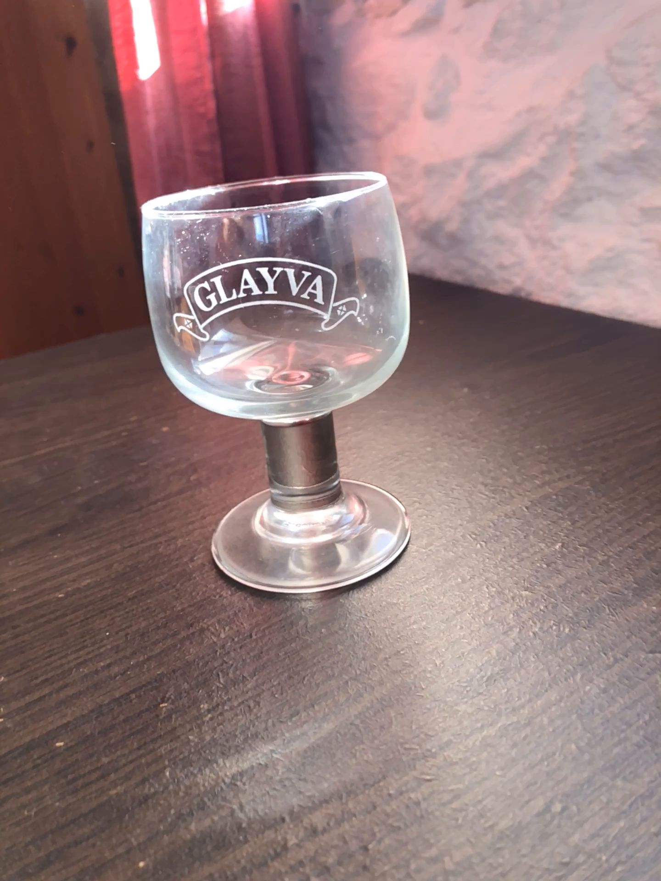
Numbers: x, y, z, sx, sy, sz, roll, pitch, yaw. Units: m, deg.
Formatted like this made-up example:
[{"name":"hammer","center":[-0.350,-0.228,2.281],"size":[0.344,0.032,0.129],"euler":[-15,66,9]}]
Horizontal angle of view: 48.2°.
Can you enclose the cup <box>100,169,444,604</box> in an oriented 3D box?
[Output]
[{"name":"cup","center":[-0.009,-0.021,0.228],"size":[0.077,0.107,0.086],"euler":[-3,23,4]}]
